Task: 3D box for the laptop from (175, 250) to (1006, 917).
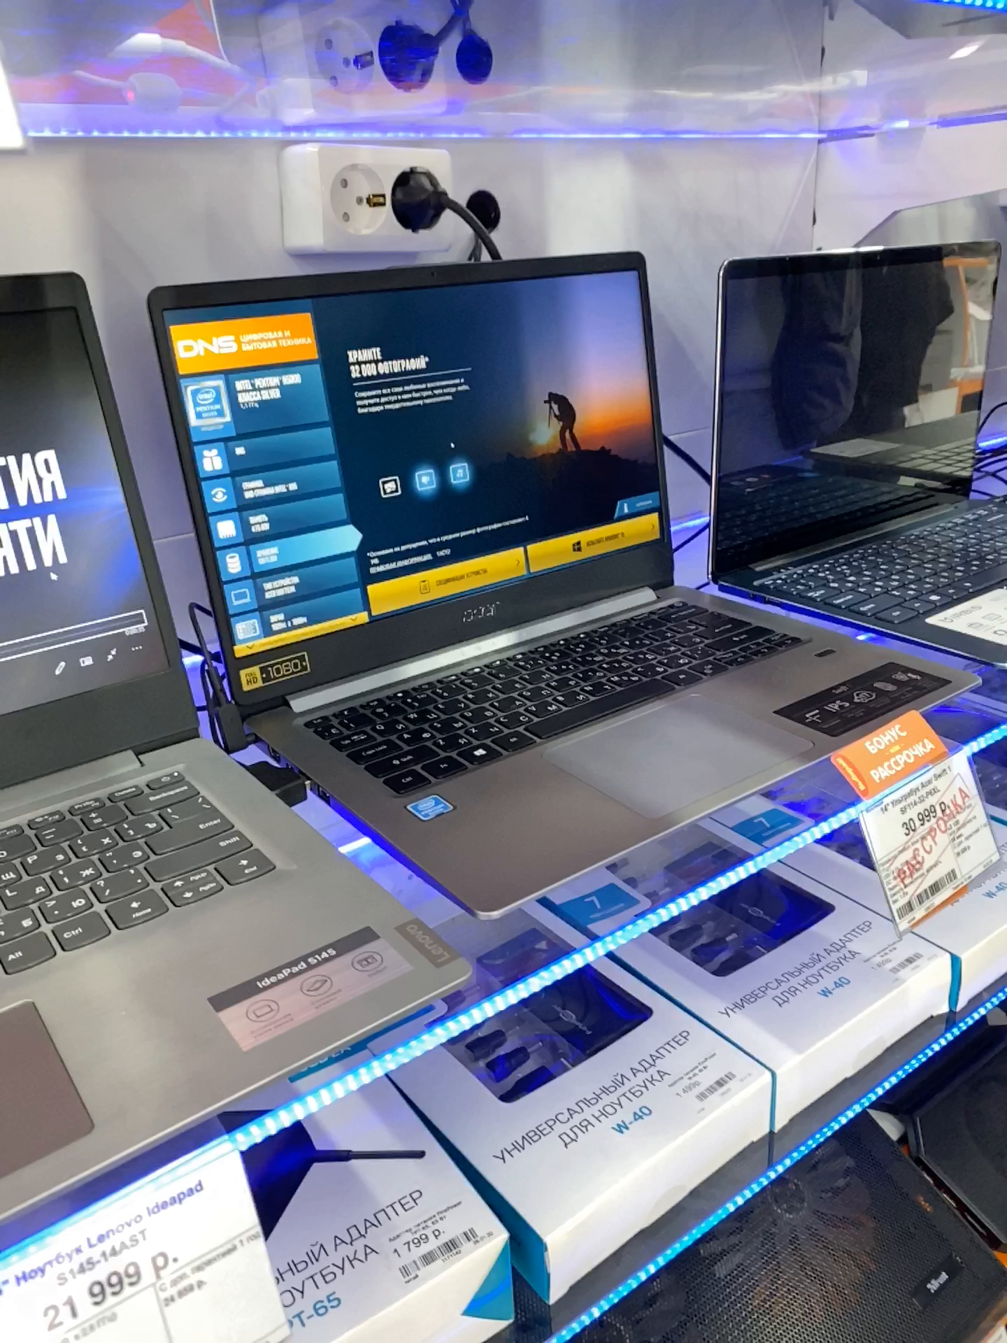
[{"bbox_3d":[0.052,-0.089,0.512,0.319,0.206,0.258,-18,28,-32],"label":"laptop"}]
